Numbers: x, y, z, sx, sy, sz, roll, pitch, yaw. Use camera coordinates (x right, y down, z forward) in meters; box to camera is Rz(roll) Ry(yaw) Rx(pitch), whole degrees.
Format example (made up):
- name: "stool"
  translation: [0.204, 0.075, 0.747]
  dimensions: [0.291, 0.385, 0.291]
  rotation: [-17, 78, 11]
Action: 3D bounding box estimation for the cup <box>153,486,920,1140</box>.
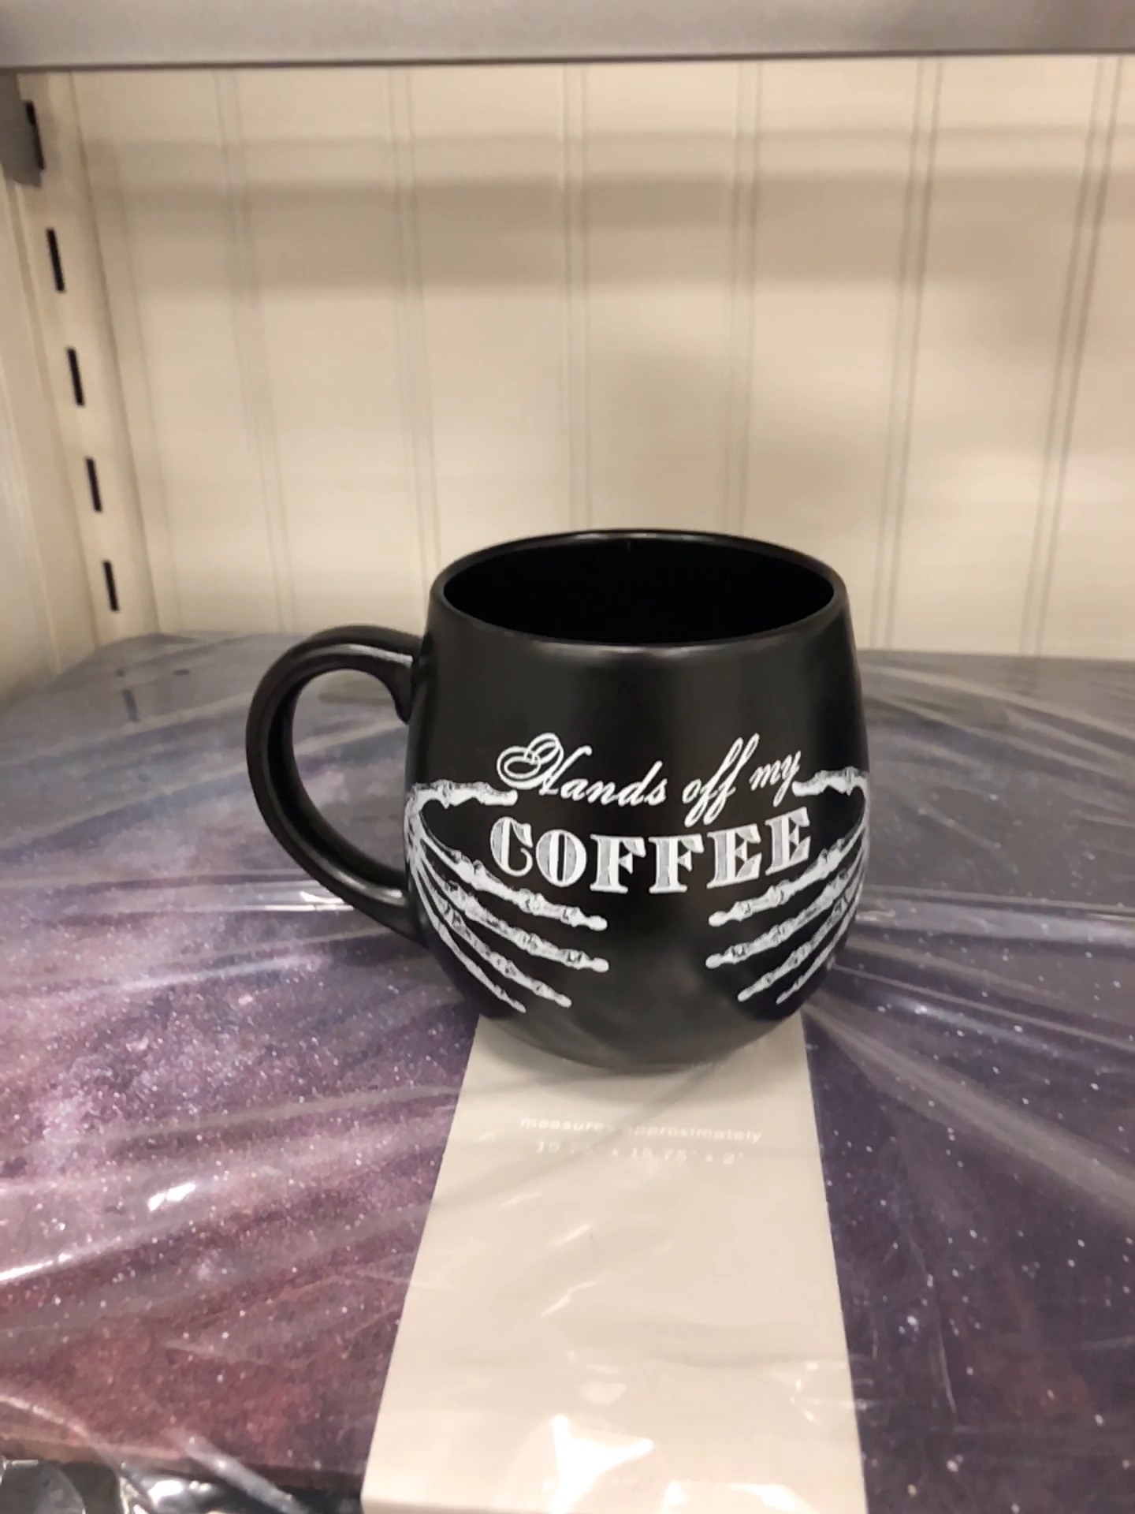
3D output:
- name: "cup"
  translation: [0.003, 0.002, 0.287]
  dimensions: [0.140, 0.099, 0.101]
  rotation: [5, 26, 14]
